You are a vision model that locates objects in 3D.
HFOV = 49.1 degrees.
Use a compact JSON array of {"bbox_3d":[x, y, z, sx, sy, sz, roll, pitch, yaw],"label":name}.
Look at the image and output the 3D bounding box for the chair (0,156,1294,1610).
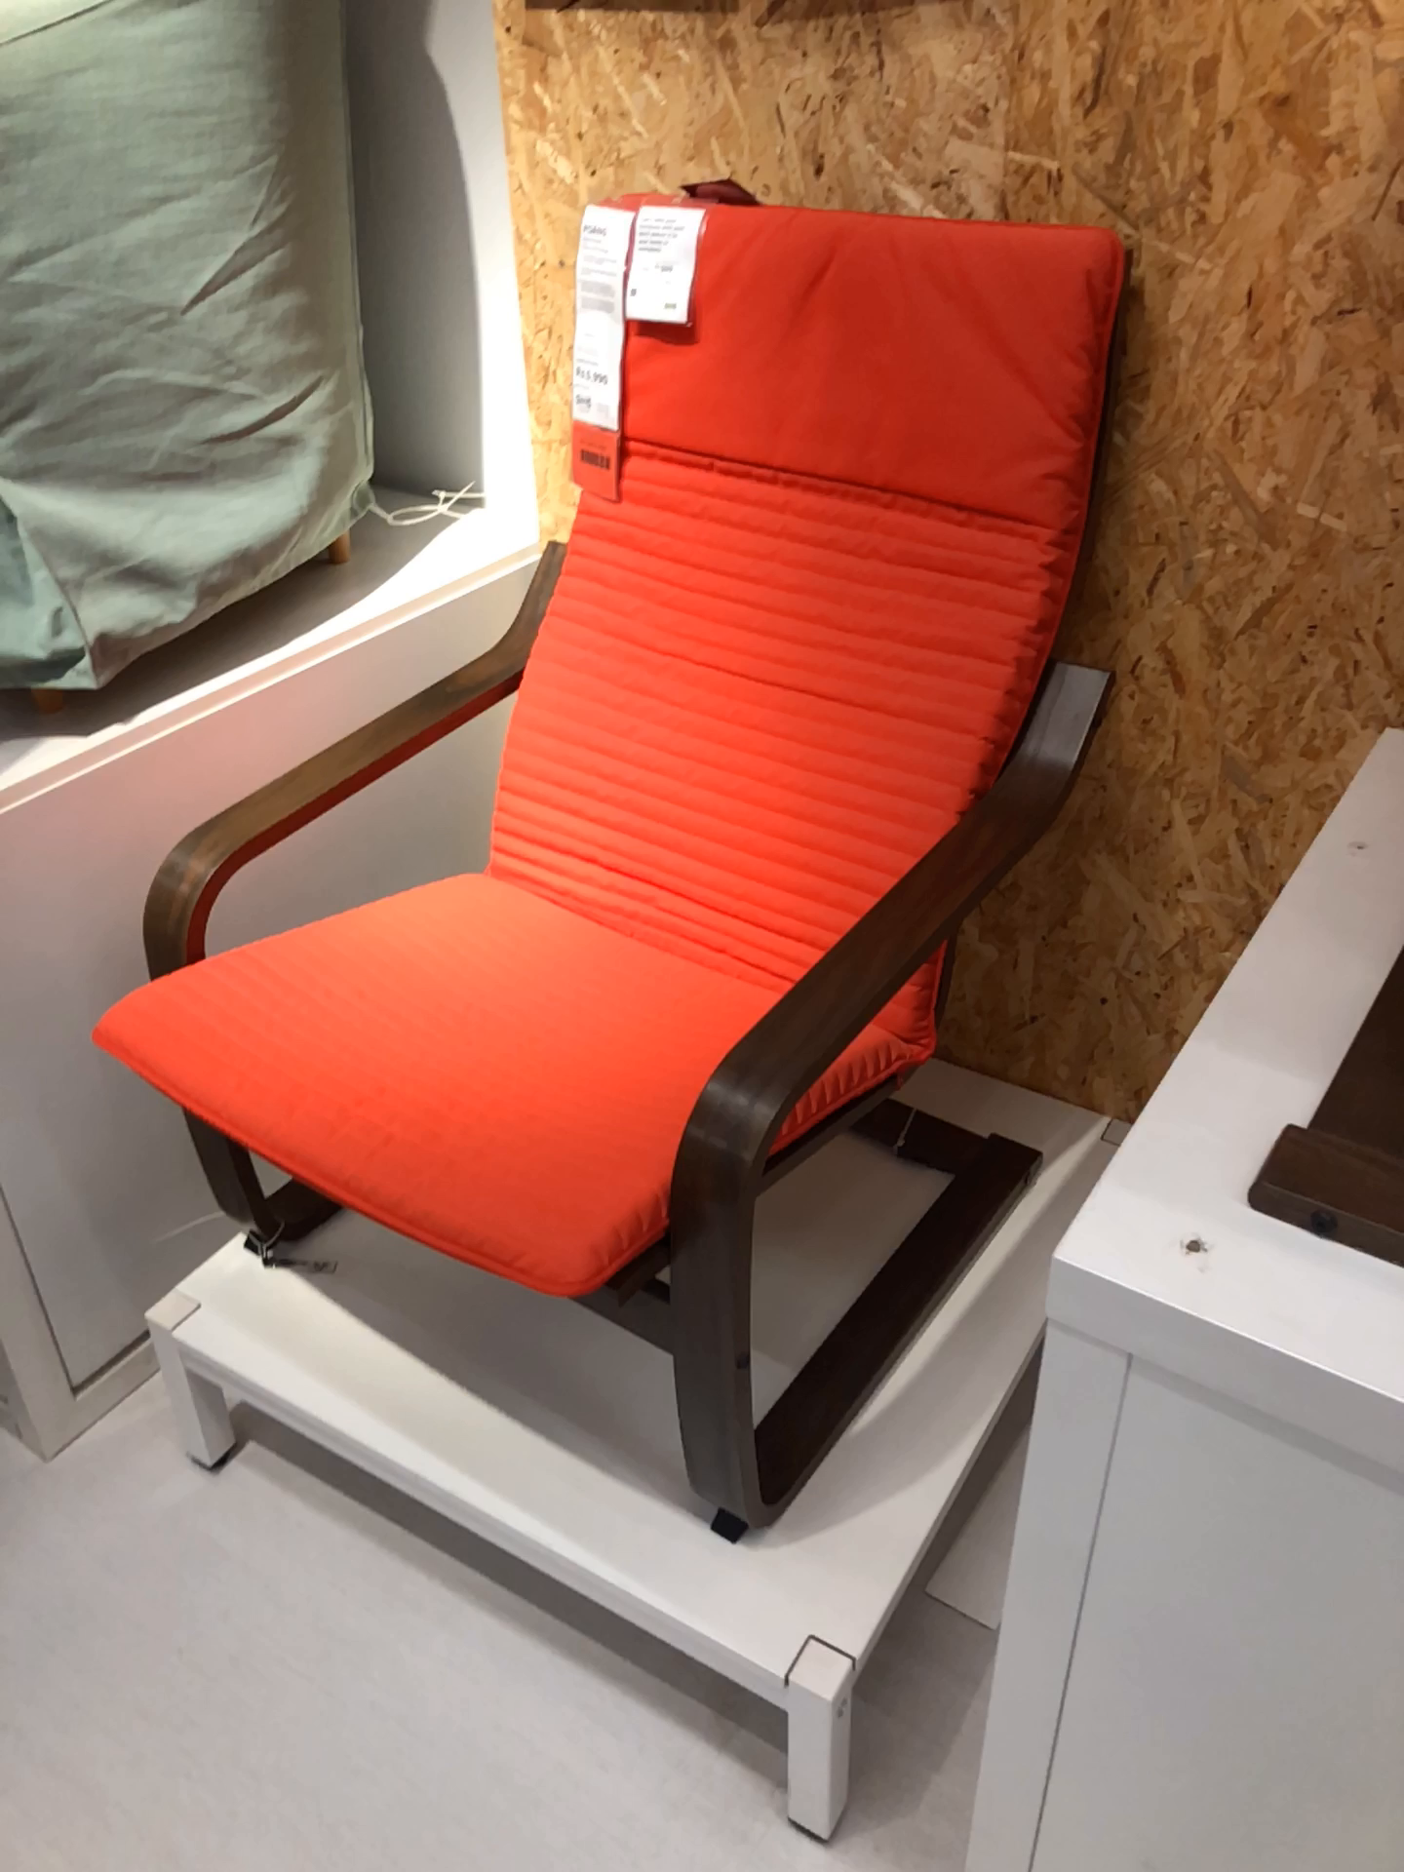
[{"bbox_3d":[-0.043,-0.147,1.406,0.752,0.894,0.793,20,39,29],"label":"chair"}]
